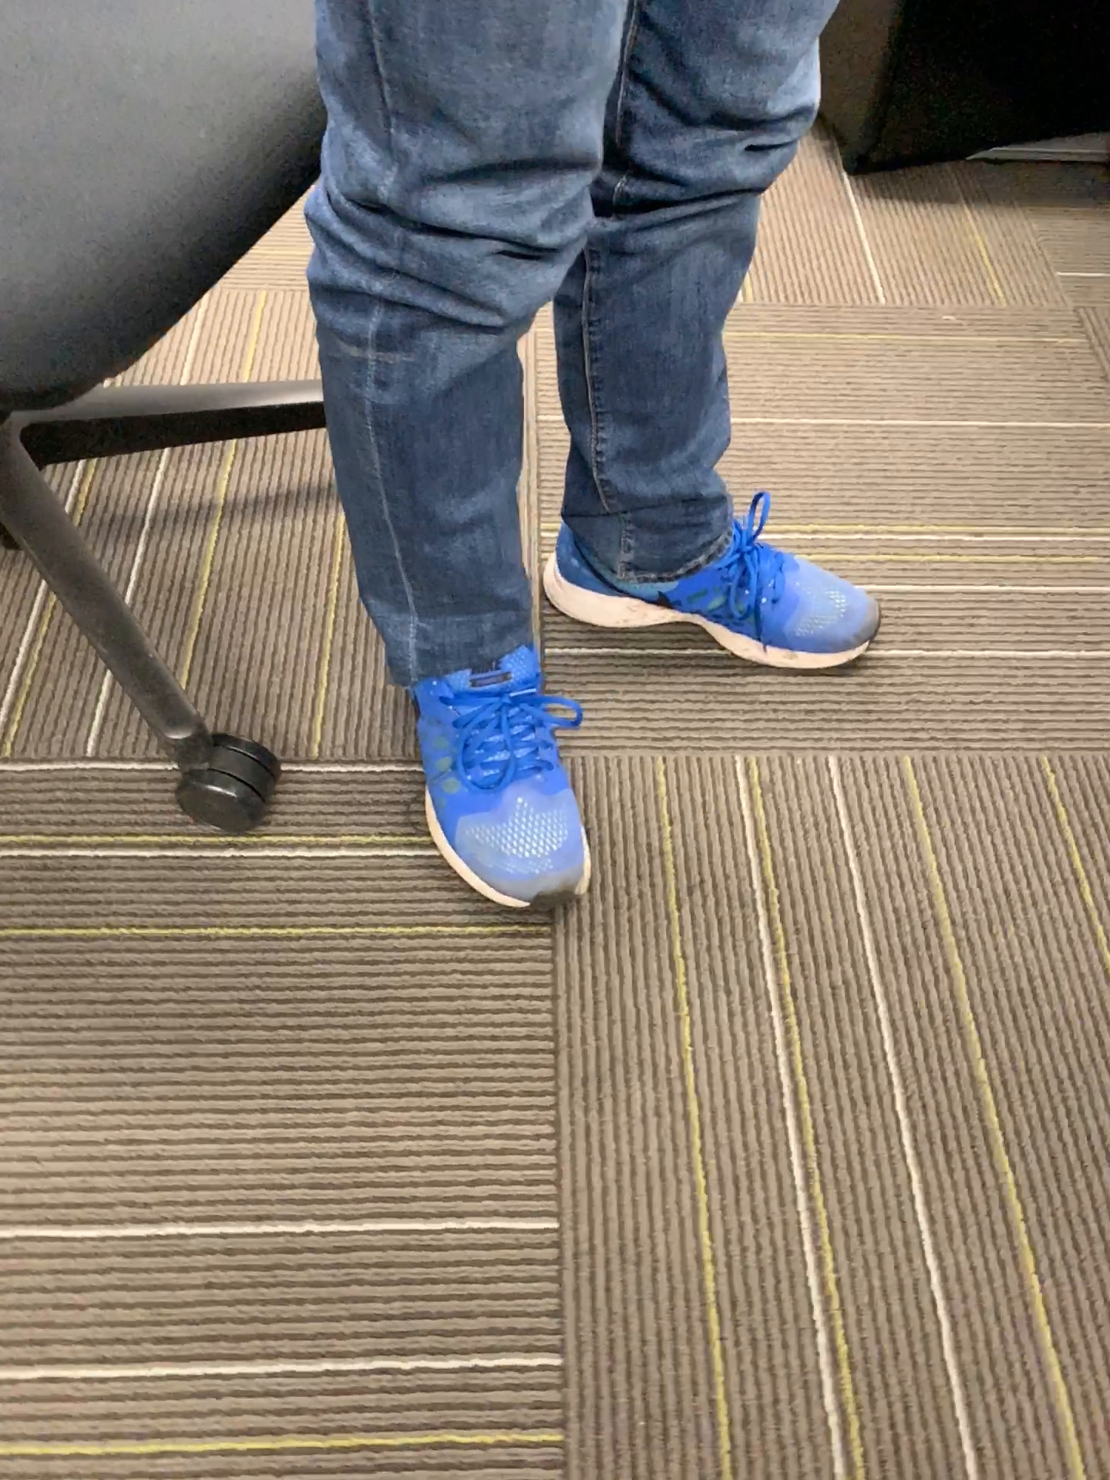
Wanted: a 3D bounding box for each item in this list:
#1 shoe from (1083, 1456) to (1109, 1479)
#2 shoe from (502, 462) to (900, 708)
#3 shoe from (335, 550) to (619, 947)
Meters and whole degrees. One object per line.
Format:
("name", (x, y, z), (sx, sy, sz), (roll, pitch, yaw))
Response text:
("shoe", (0.306, 0.476, 0.440), (0.117, 0.088, 0.305), (11, 47, 33))
("shoe", (0.128, -0.145, 1.012), (0.311, 0.088, 0.142), (15, 54, 19))
("shoe", (-0.072, -0.010, 0.912), (0.119, 0.088, 0.340), (-16, 47, -14))
